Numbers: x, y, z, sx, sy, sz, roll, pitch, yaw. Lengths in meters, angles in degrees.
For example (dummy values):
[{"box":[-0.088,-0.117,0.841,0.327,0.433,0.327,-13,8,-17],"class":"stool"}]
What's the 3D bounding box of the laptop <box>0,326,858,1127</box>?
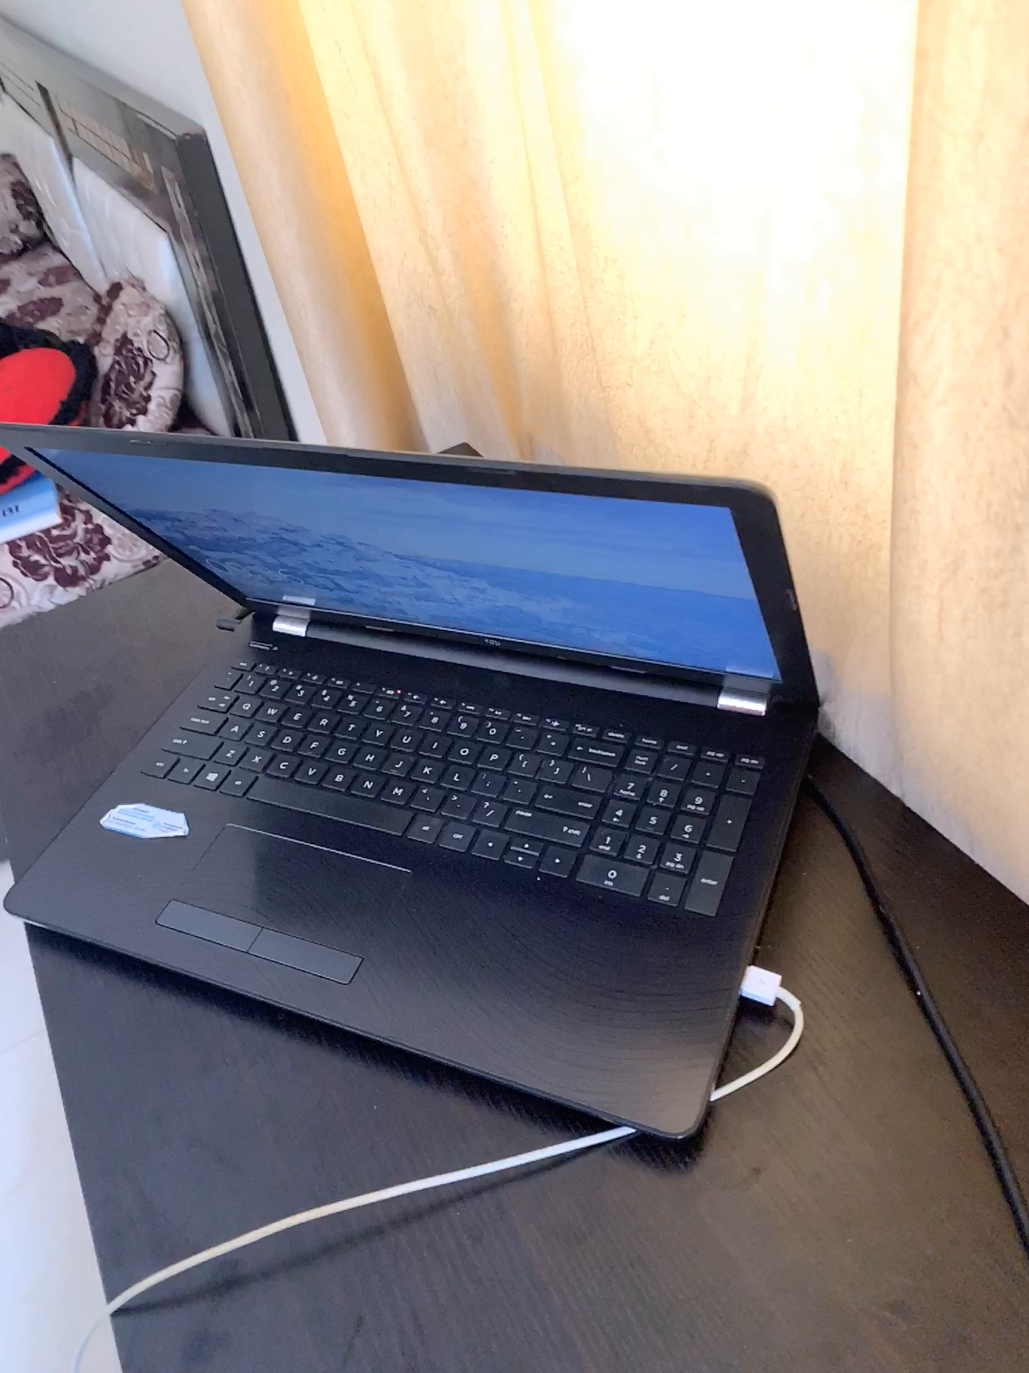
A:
[{"box":[-0.055,-0.014,0.495,0.363,0.200,0.239,10,47,25],"class":"laptop"}]
